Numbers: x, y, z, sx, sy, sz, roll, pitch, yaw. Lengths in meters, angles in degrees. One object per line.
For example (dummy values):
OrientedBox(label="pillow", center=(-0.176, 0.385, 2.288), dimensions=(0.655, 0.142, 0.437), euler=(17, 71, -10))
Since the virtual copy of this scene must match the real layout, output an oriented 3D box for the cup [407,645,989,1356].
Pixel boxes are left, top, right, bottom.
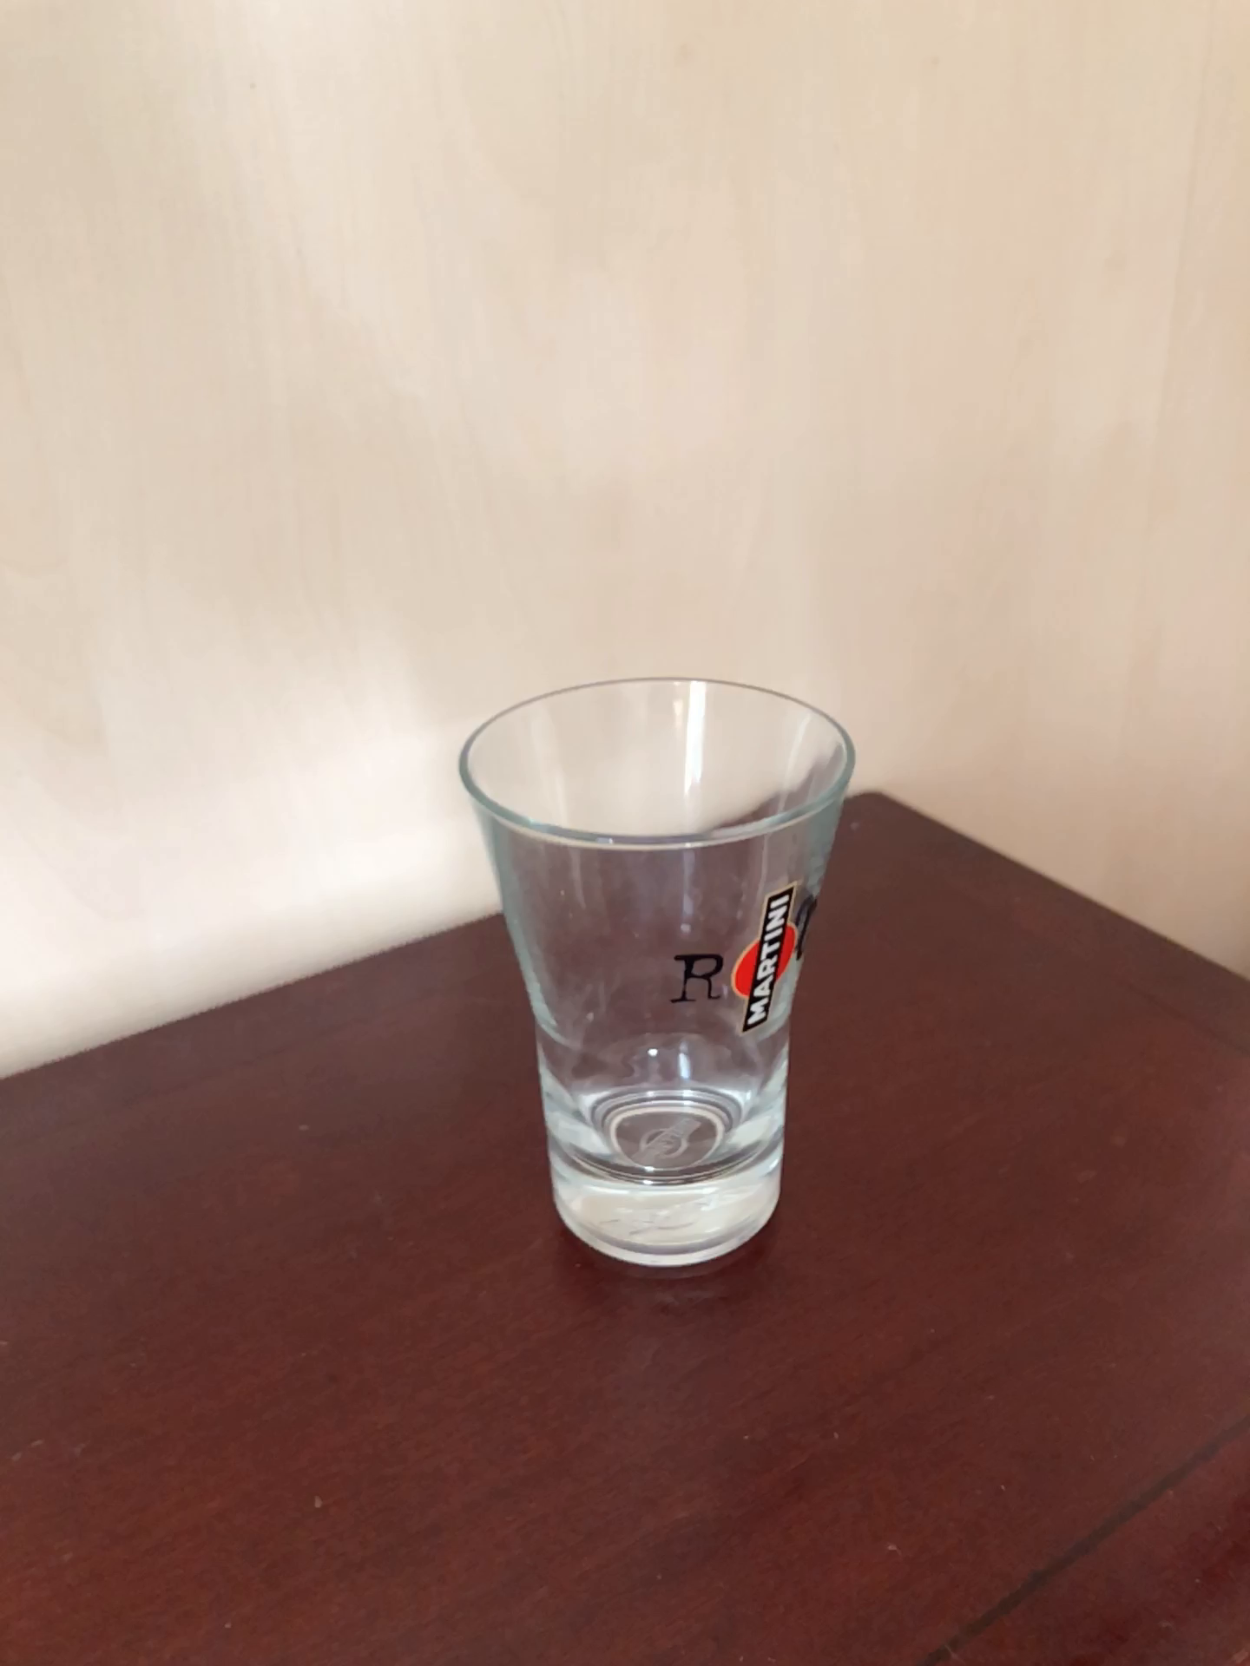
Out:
OrientedBox(label="cup", center=(0.015, 0.033, 0.338), dimensions=(0.095, 0.118, 0.094), euler=(-2, 27, 1))
